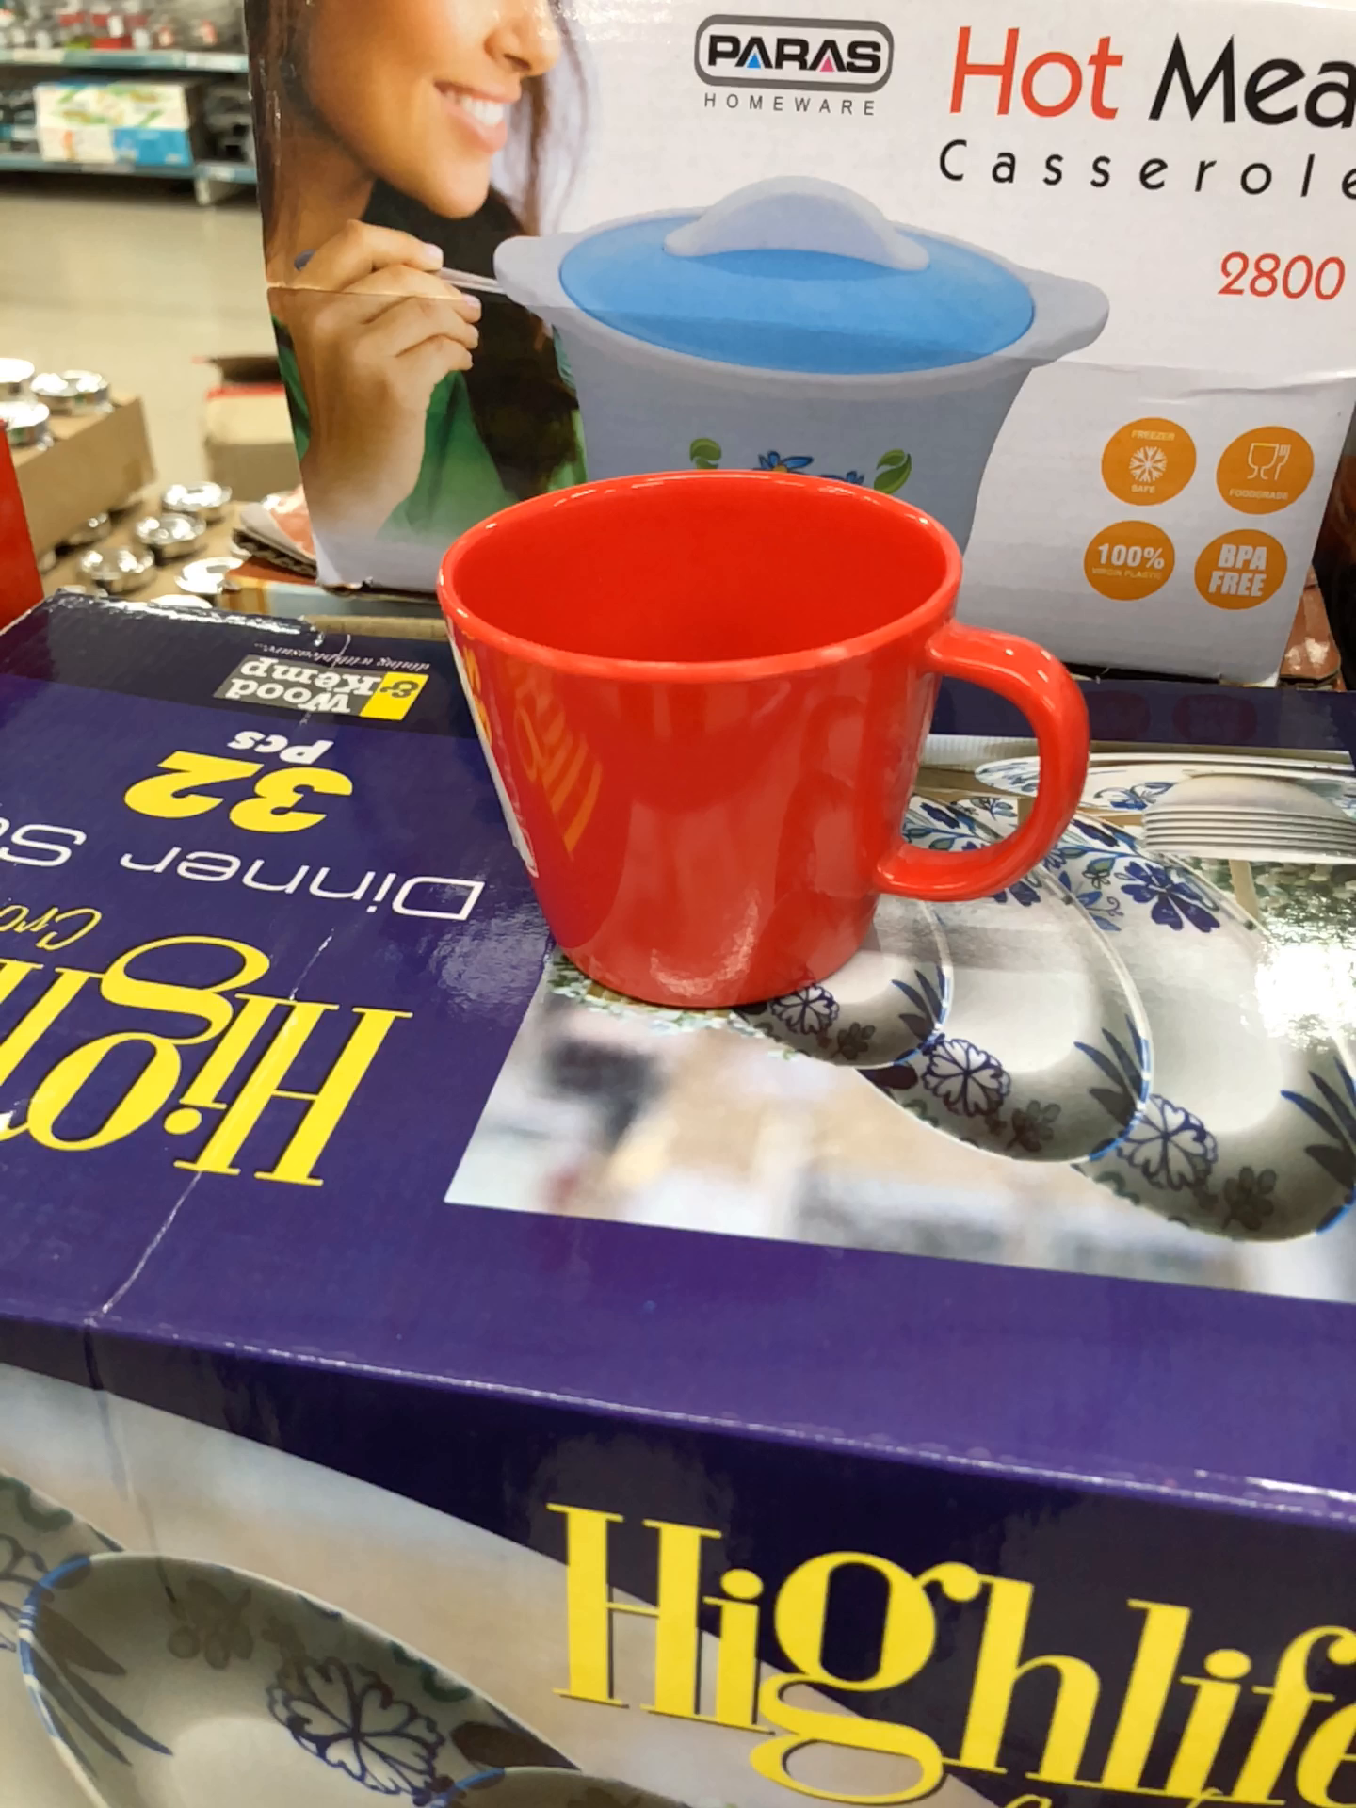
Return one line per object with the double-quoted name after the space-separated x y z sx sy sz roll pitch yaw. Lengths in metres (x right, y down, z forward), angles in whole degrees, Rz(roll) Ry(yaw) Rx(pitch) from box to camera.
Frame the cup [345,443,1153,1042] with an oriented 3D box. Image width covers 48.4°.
0.014 -0.030 0.231 0.100 0.050 0.081 7 35 9 "cup"
